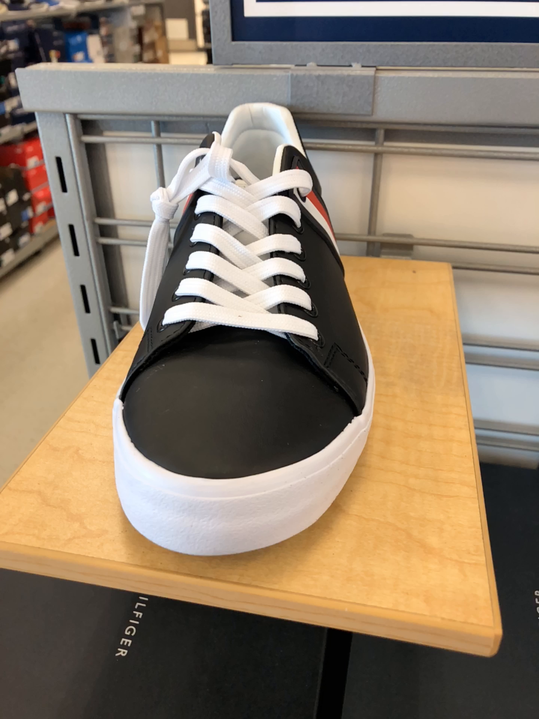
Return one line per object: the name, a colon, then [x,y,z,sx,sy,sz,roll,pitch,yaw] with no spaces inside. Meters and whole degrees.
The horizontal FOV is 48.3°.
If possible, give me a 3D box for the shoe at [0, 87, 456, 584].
shoe: [-0.002,-0.053,0.274,0.100,0.089,0.292,2,32,3]
